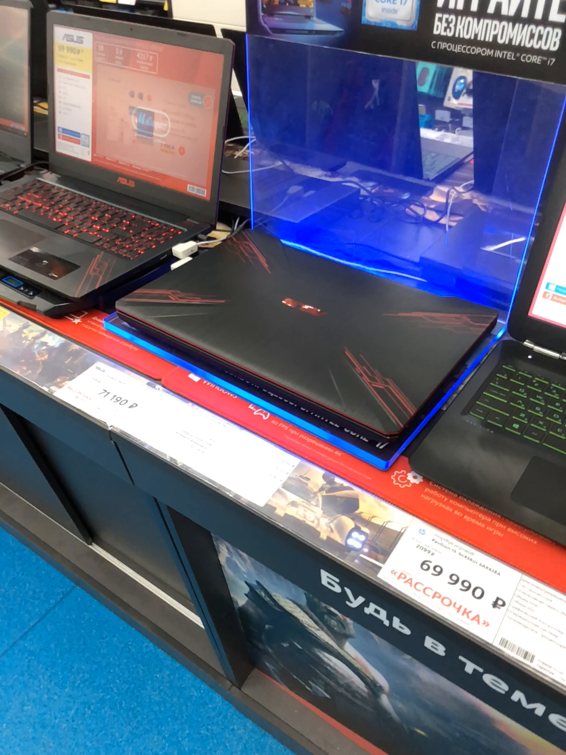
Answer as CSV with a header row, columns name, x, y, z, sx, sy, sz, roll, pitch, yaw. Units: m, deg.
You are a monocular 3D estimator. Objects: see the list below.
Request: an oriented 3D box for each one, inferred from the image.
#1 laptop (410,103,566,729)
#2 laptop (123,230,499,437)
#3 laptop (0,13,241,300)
name,x,y,z,sx,sy,sz,roll,pitch,yaw
laptop,0.350,-0.022,0.500,0.374,0.242,0.293,25,46,28
laptop,0.029,-0.079,0.736,0.373,0.006,0.244,25,46,28
laptop,-0.310,-0.337,0.868,0.391,0.231,0.320,23,44,27
